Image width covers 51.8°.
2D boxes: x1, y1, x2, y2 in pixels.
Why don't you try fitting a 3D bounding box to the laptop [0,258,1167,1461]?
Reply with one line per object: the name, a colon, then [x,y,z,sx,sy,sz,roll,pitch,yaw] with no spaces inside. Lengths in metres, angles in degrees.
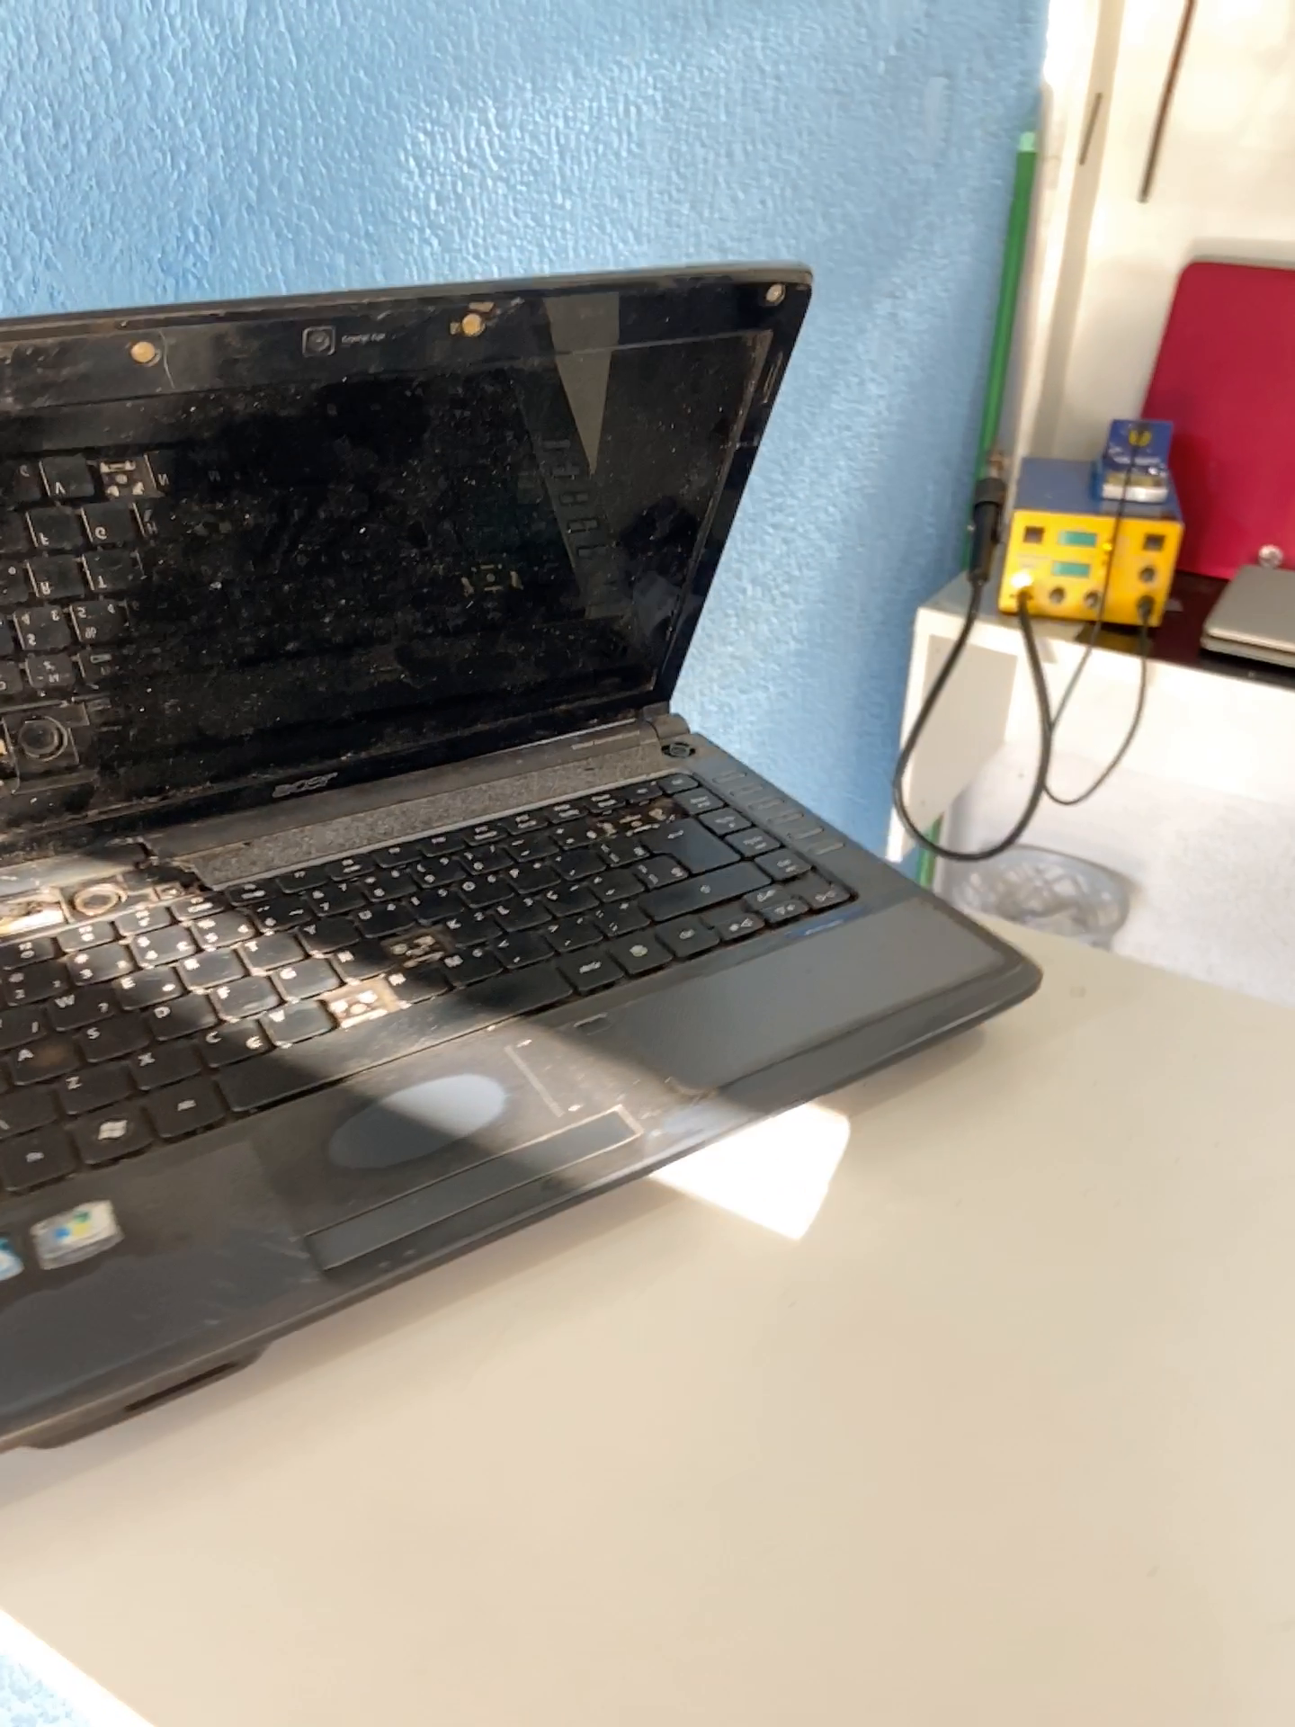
laptop: [-0.074,-0.052,0.387,0.334,0.182,0.229,-17,35,-27]
